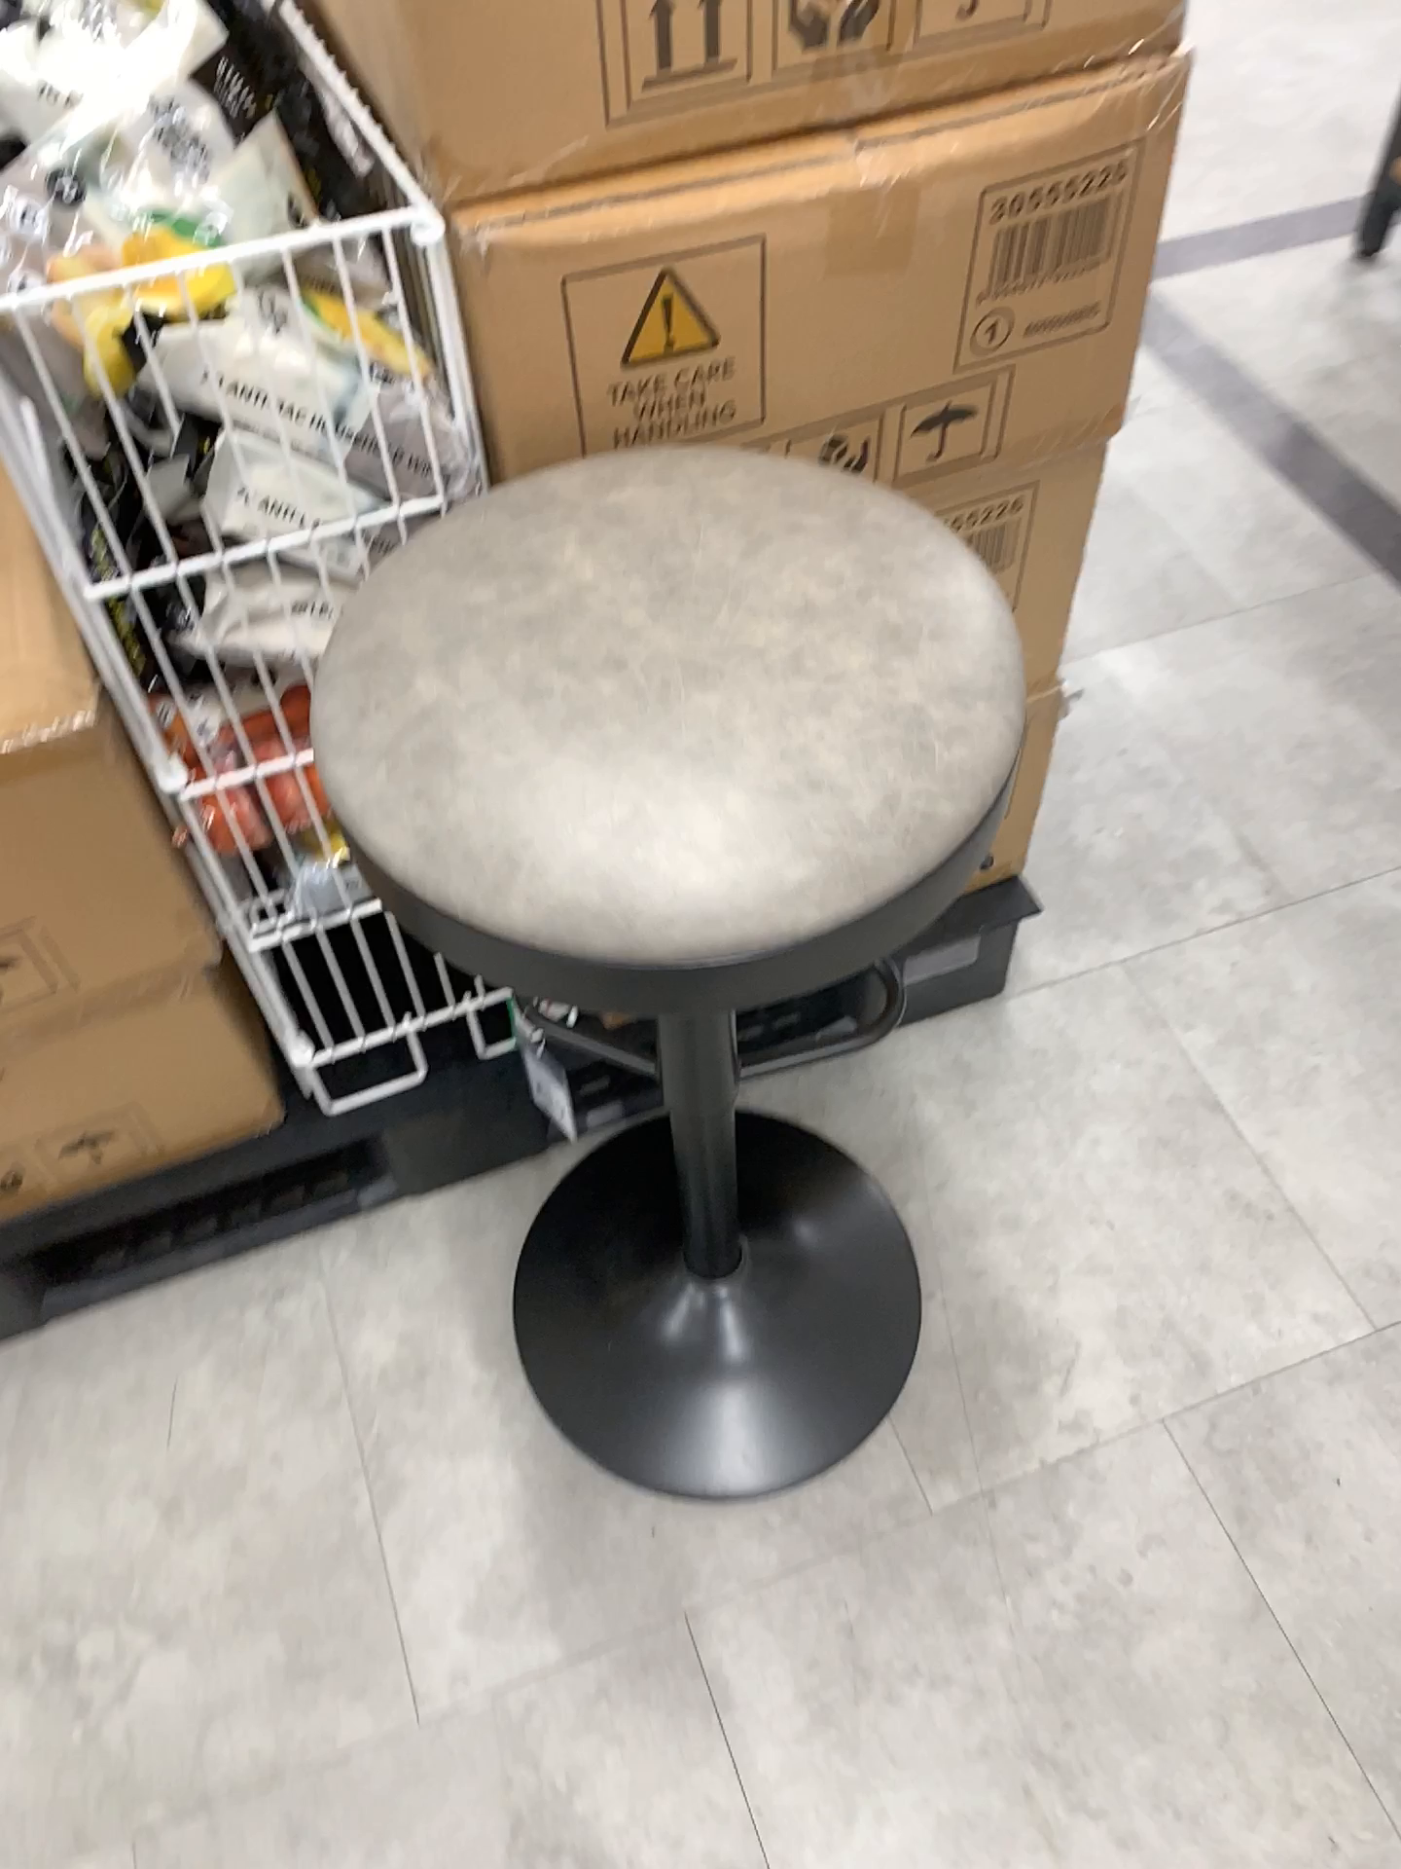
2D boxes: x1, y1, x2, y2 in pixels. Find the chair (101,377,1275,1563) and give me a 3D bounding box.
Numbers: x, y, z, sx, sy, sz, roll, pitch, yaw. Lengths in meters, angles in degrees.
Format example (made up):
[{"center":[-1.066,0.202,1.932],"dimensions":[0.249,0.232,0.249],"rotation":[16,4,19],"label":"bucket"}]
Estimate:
[{"center":[-0.004,0.090,0.982],"dimensions":[0.457,0.741,0.436],"rotation":[-3,52,0],"label":"chair"}]
